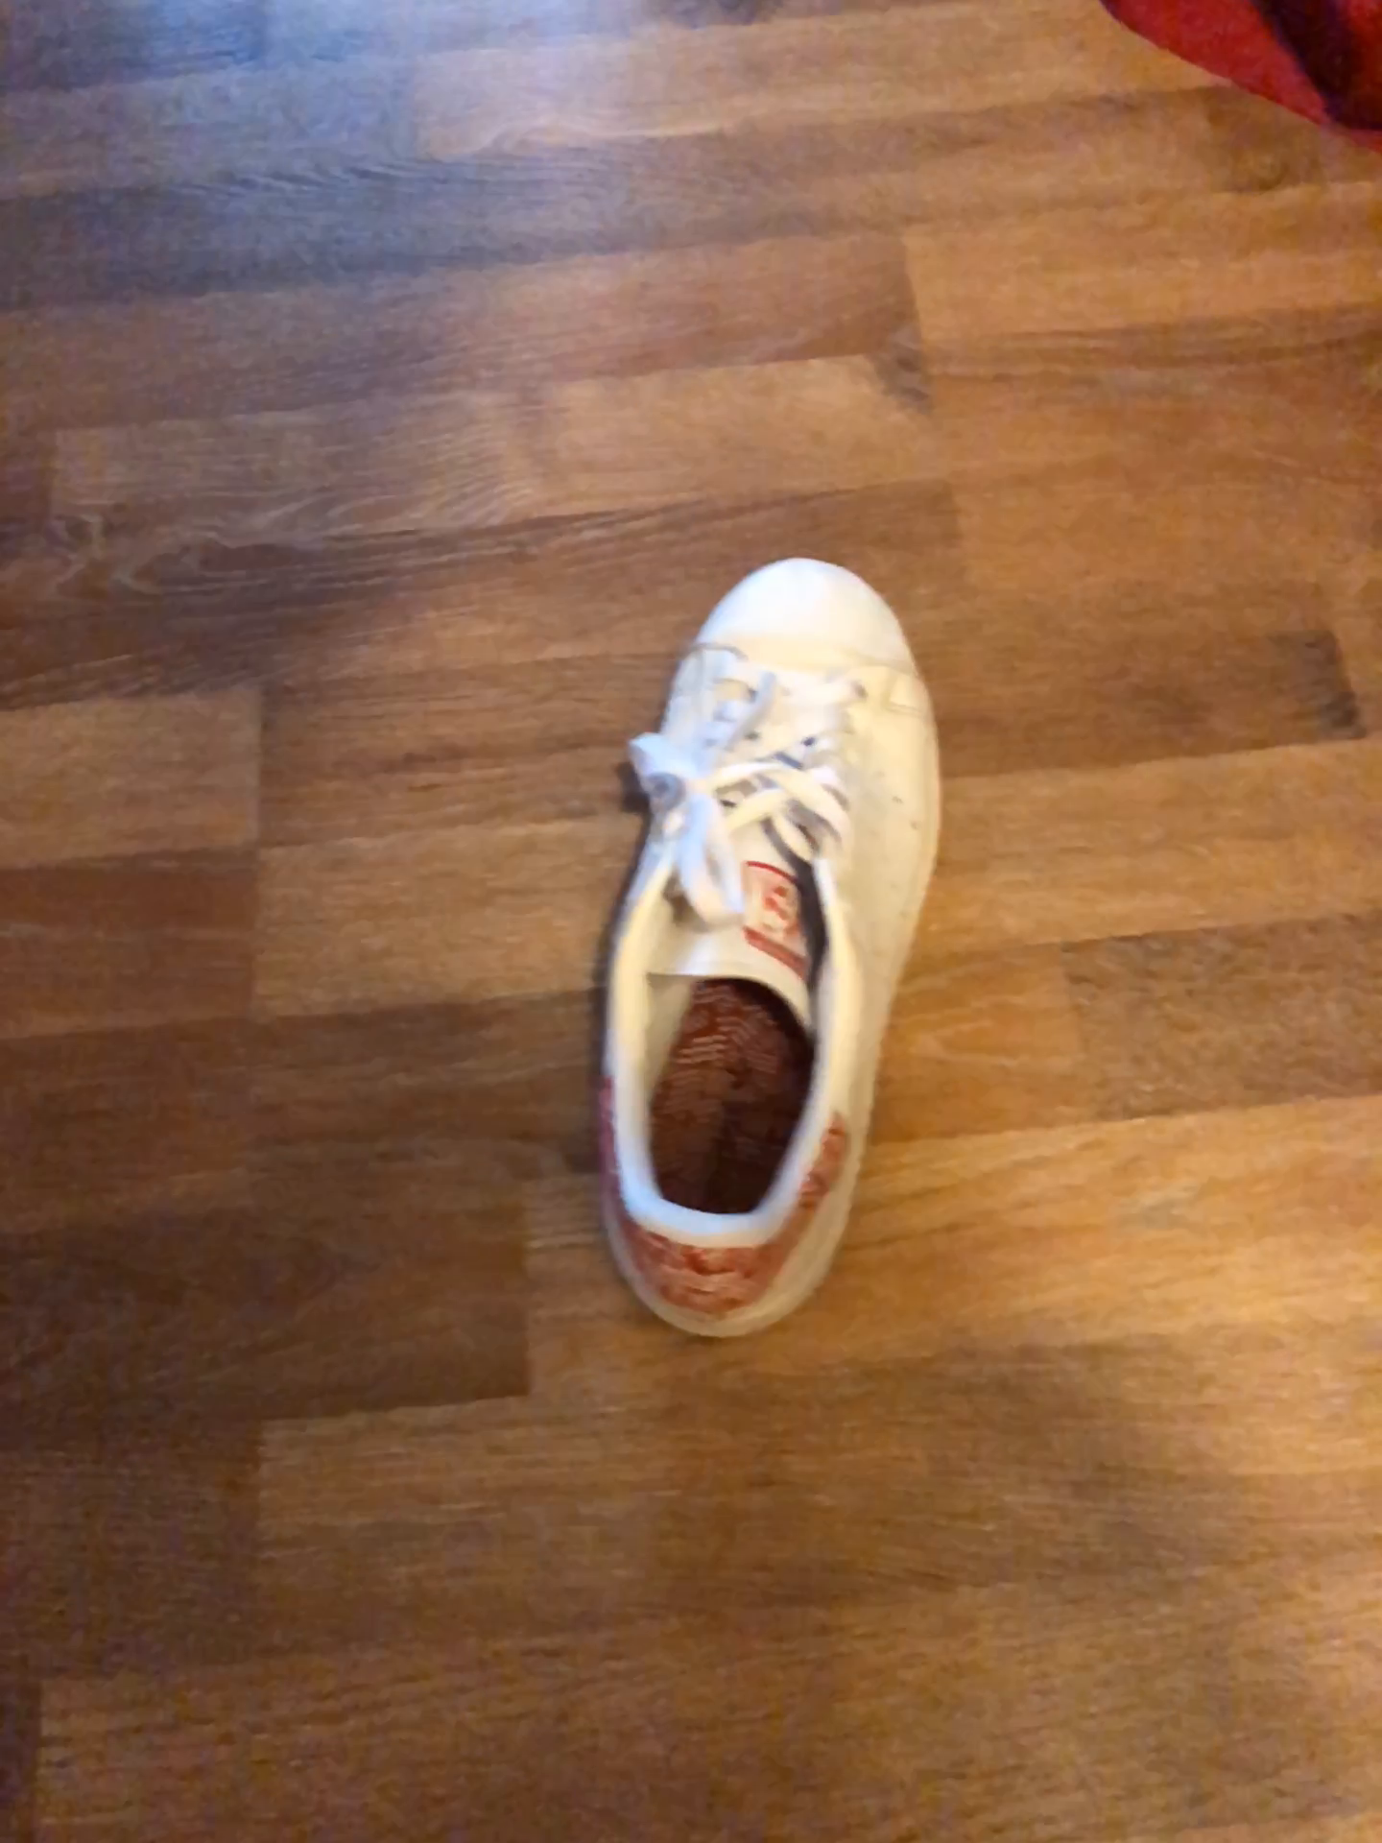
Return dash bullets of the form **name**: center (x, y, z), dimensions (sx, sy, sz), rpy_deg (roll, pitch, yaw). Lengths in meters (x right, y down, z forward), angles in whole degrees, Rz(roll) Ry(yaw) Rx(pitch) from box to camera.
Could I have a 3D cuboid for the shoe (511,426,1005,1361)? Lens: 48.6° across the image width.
- **shoe**: center (0.027, -0.010, 0.464), dimensions (0.100, 0.110, 0.251), rpy_deg (7, 67, 5)
